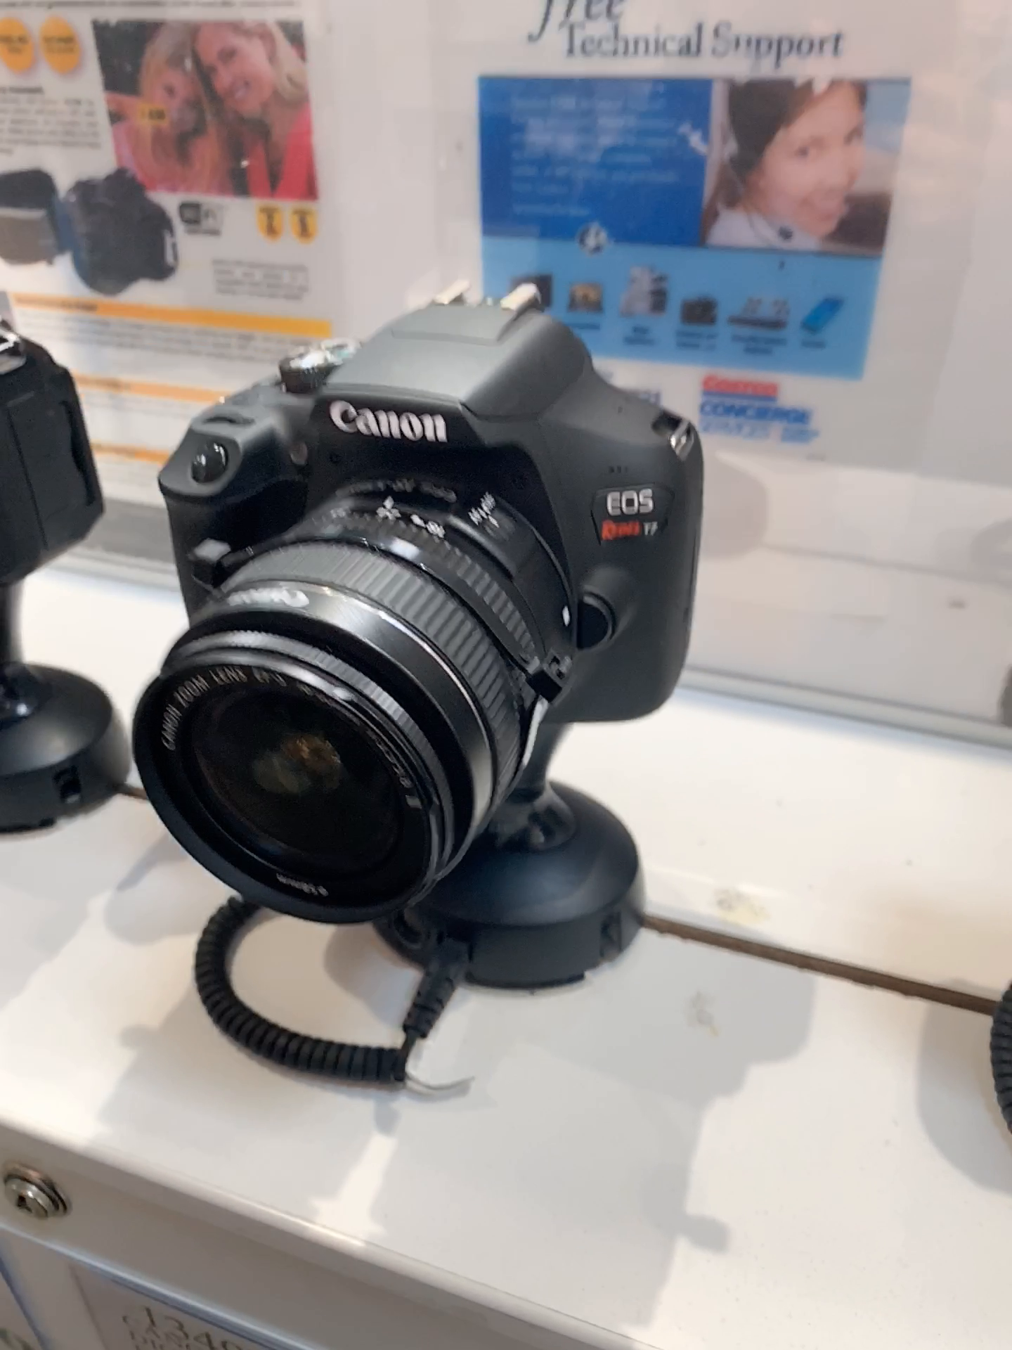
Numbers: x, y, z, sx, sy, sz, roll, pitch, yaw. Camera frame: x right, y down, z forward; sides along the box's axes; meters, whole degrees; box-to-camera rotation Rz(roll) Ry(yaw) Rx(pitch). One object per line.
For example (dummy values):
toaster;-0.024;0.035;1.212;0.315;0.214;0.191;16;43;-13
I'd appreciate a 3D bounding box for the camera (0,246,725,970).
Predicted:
camera;-0.026;-0.026;0.237;0.122;0.104;0.110;10;34;14
